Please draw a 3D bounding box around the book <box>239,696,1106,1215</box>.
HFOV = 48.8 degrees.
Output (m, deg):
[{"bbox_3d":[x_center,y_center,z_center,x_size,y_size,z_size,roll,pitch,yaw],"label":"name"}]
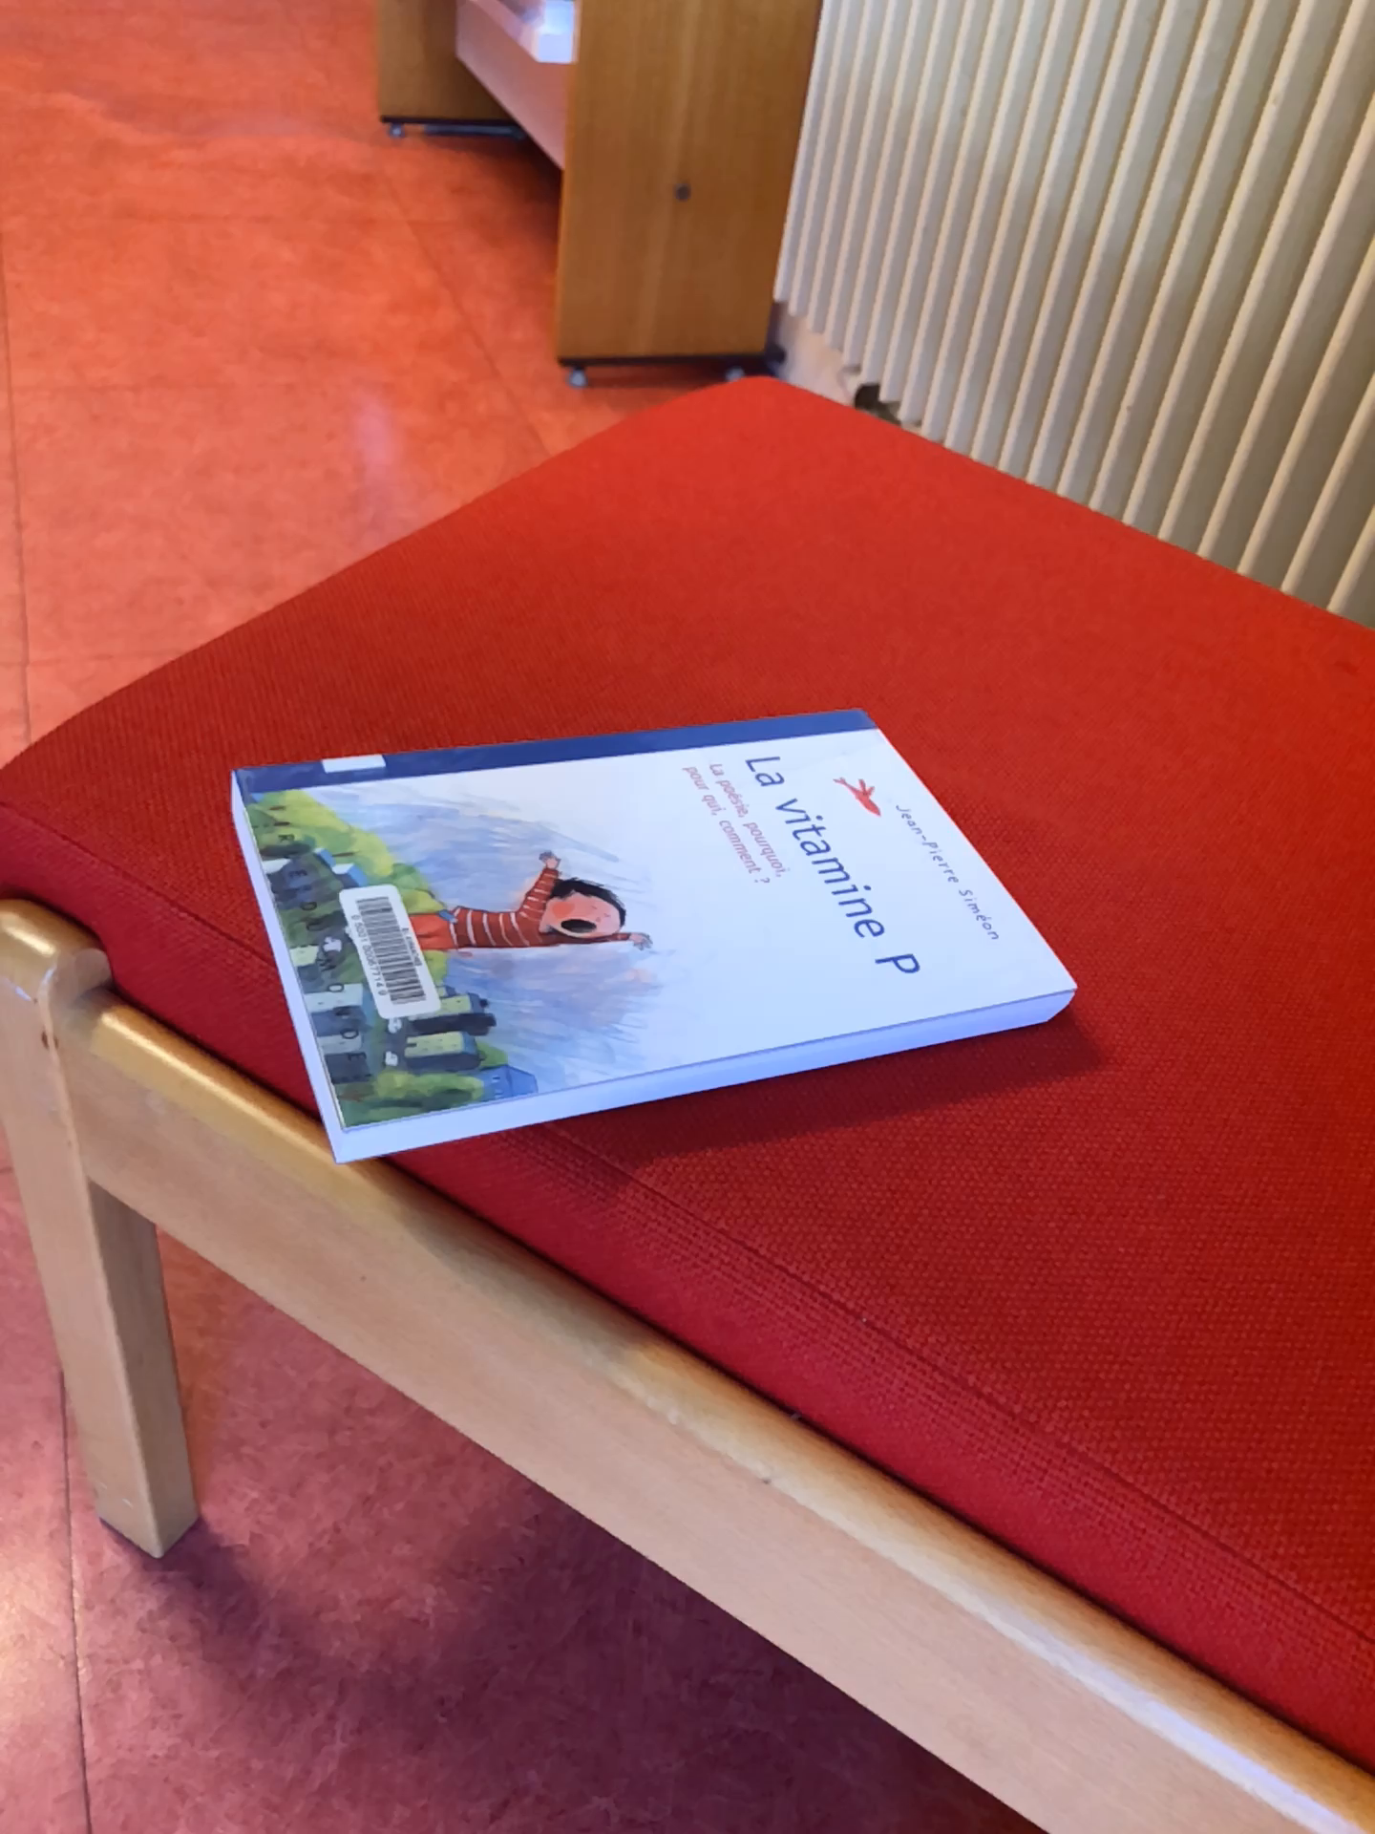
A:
[{"bbox_3d":[-0.010,-0.002,0.447,0.216,0.027,0.148,-9,45,-20],"label":"book"}]
